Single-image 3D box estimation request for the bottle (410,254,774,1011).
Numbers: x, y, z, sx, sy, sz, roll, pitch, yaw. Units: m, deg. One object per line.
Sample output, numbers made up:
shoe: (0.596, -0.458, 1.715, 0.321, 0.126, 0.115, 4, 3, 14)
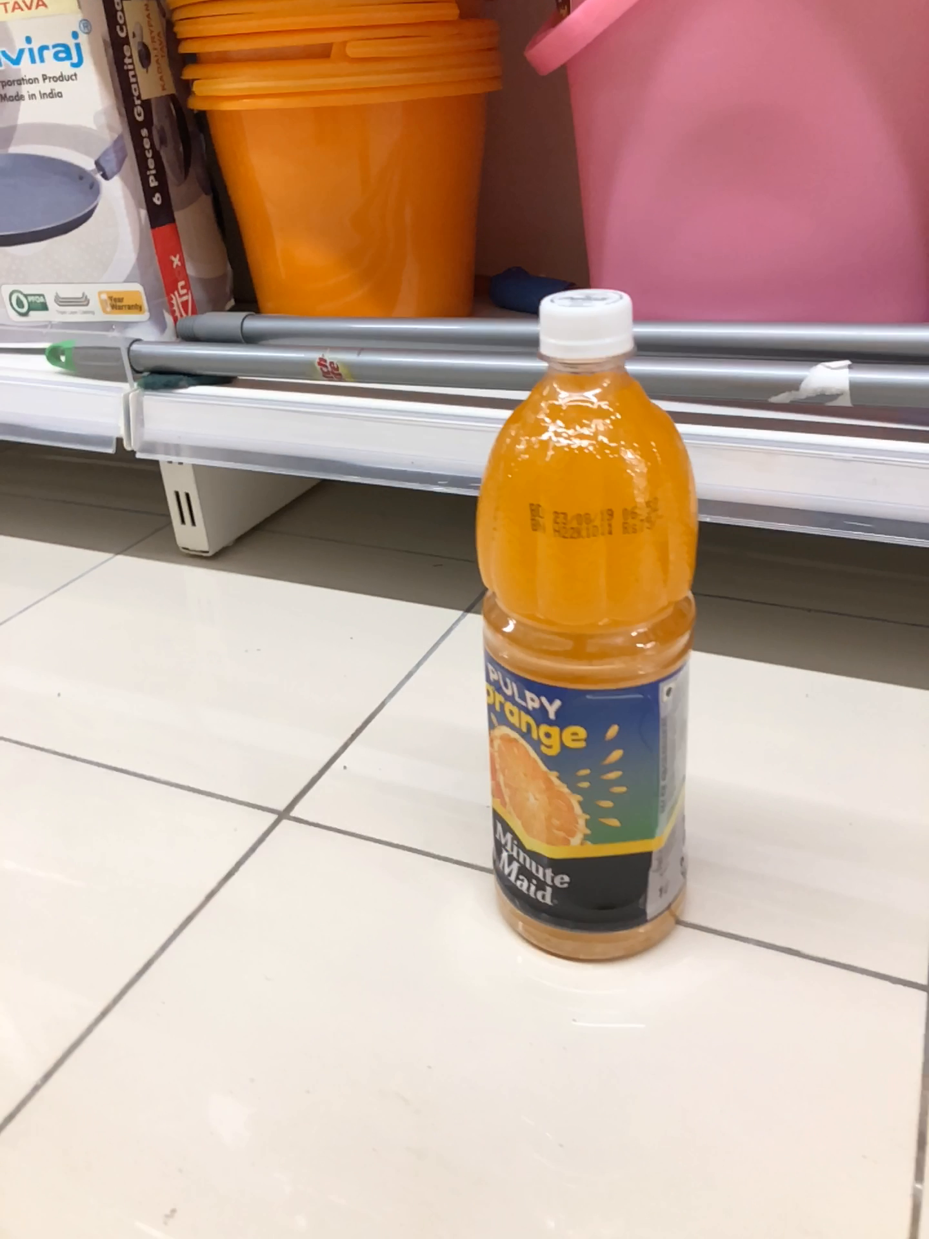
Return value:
bottle: (0.048, 0.008, 0.399, 0.080, 0.268, 0.090, -20, 31, -27)
